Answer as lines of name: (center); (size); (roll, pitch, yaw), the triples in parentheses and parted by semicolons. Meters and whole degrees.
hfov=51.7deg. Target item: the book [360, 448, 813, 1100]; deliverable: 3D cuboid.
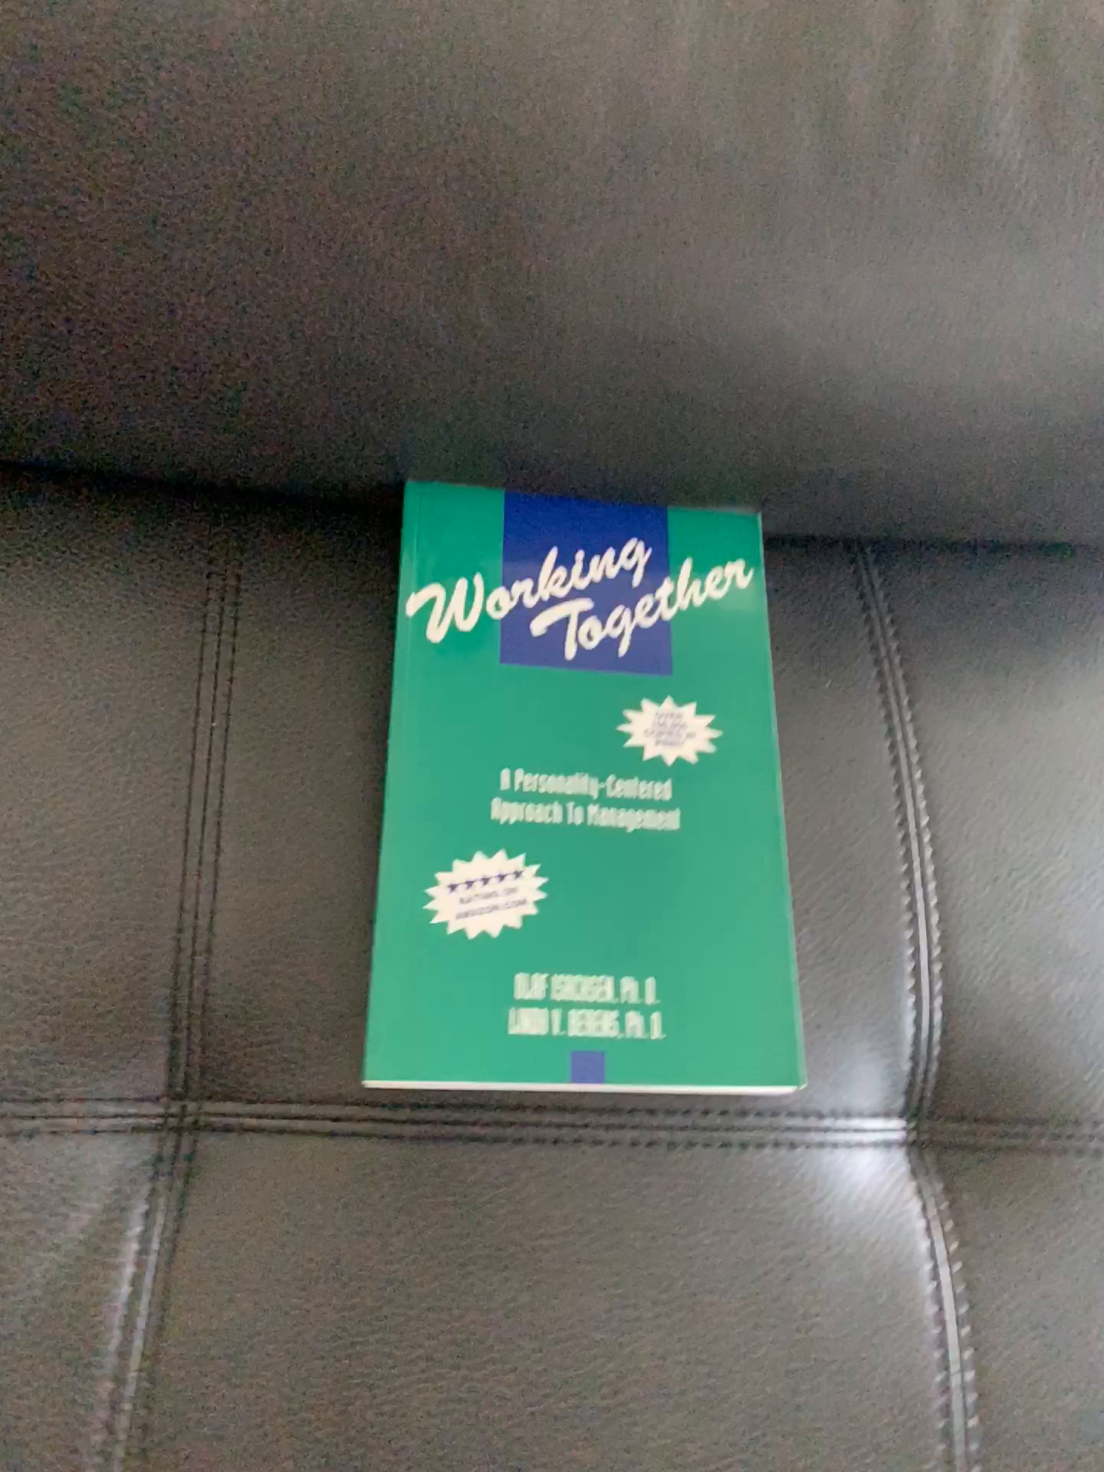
book: (0.012, 0.010, 0.394); (0.137, 0.033, 0.217); (5, 69, -10)
